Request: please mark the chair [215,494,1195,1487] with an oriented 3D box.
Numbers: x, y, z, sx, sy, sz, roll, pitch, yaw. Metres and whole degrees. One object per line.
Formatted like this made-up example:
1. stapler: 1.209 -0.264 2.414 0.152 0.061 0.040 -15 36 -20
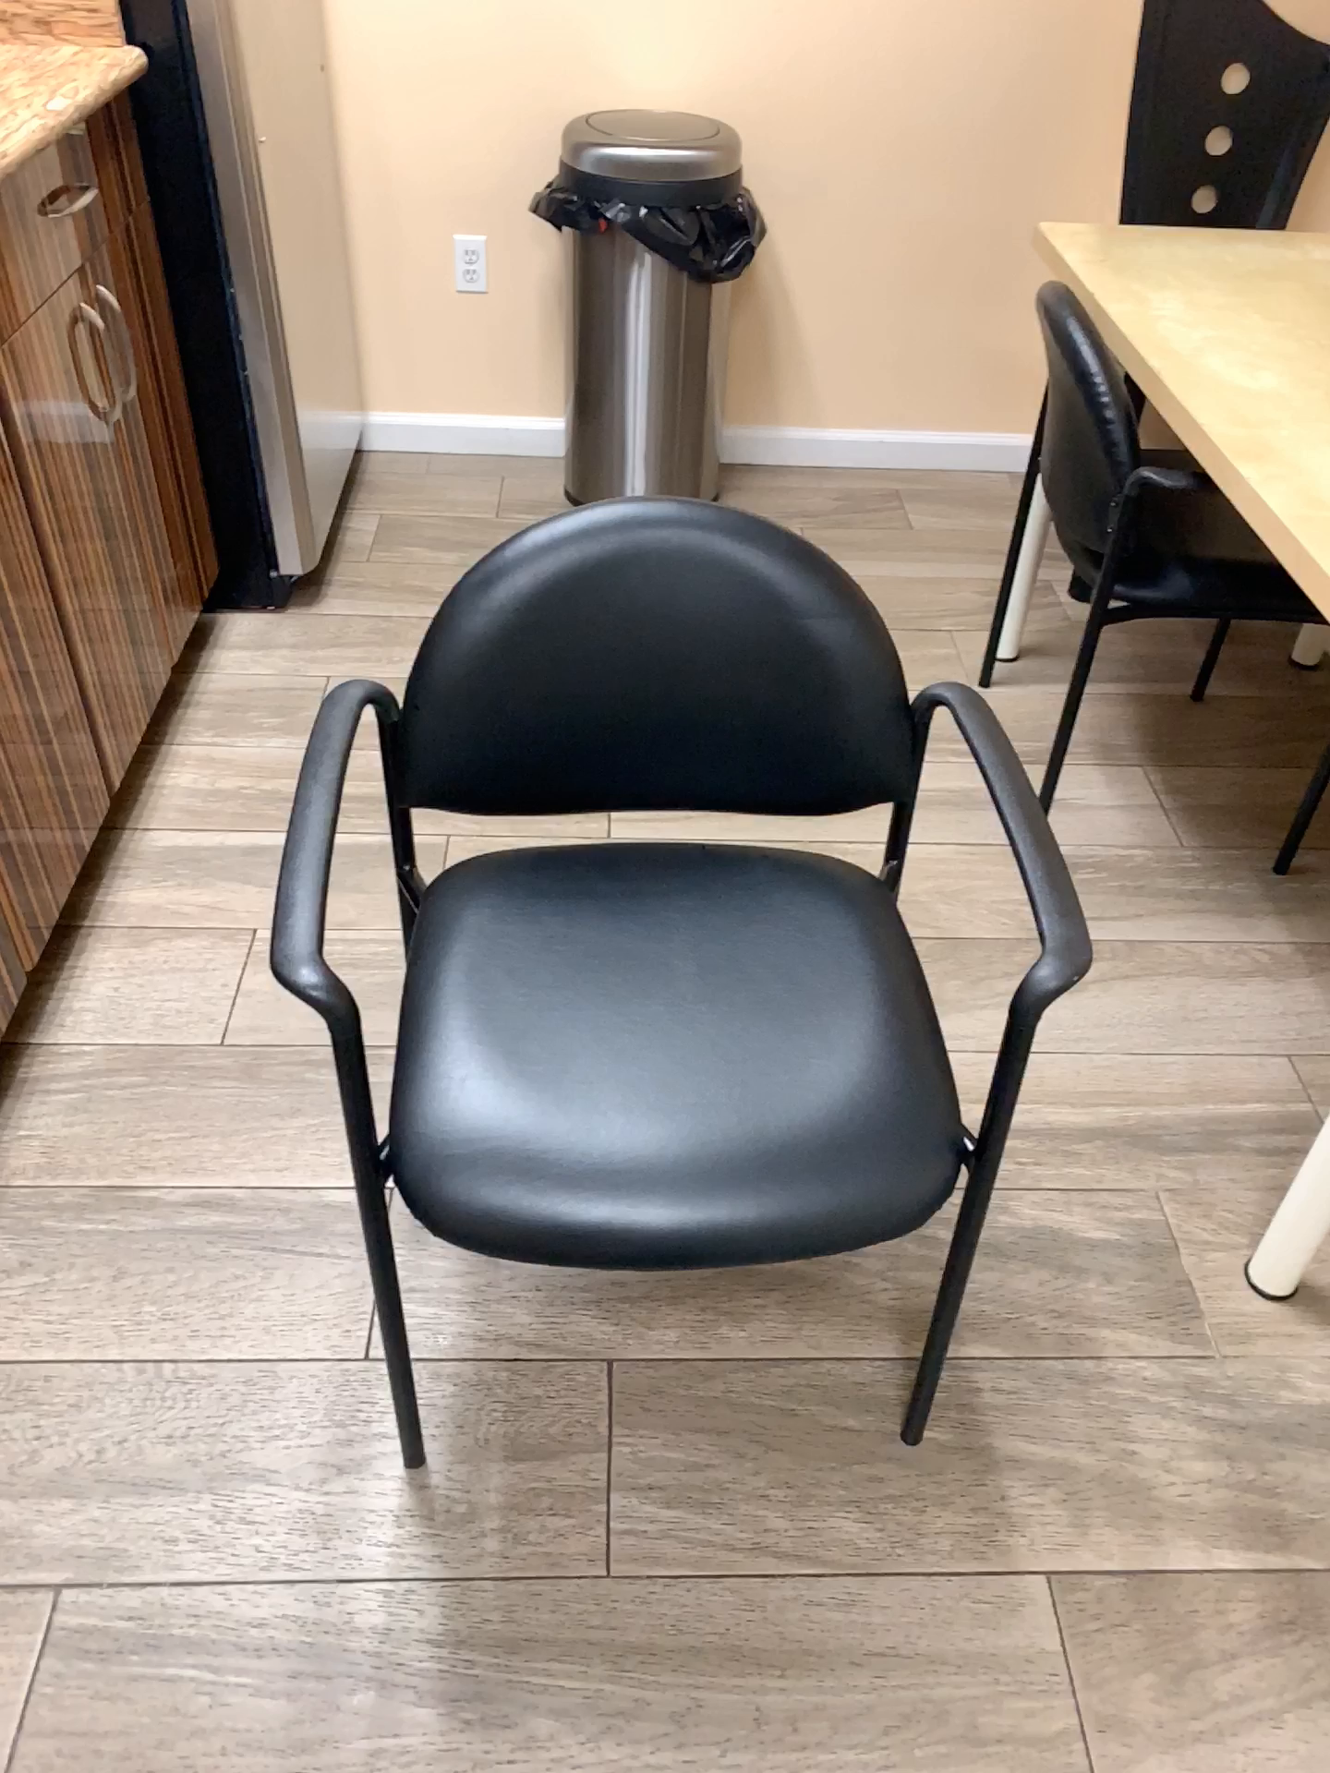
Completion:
1. chair: -0.005 0.103 1.241 0.590 0.736 0.523 -1 40 -5
